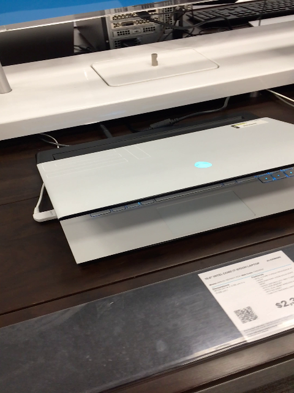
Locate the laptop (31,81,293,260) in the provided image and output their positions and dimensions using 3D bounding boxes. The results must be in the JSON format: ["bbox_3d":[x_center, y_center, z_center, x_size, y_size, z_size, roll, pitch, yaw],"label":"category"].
[{"bbox_3d":[0.060,-0.052,0.537,0.373,0.086,0.205,-14,43,-10],"label":"laptop"}]
